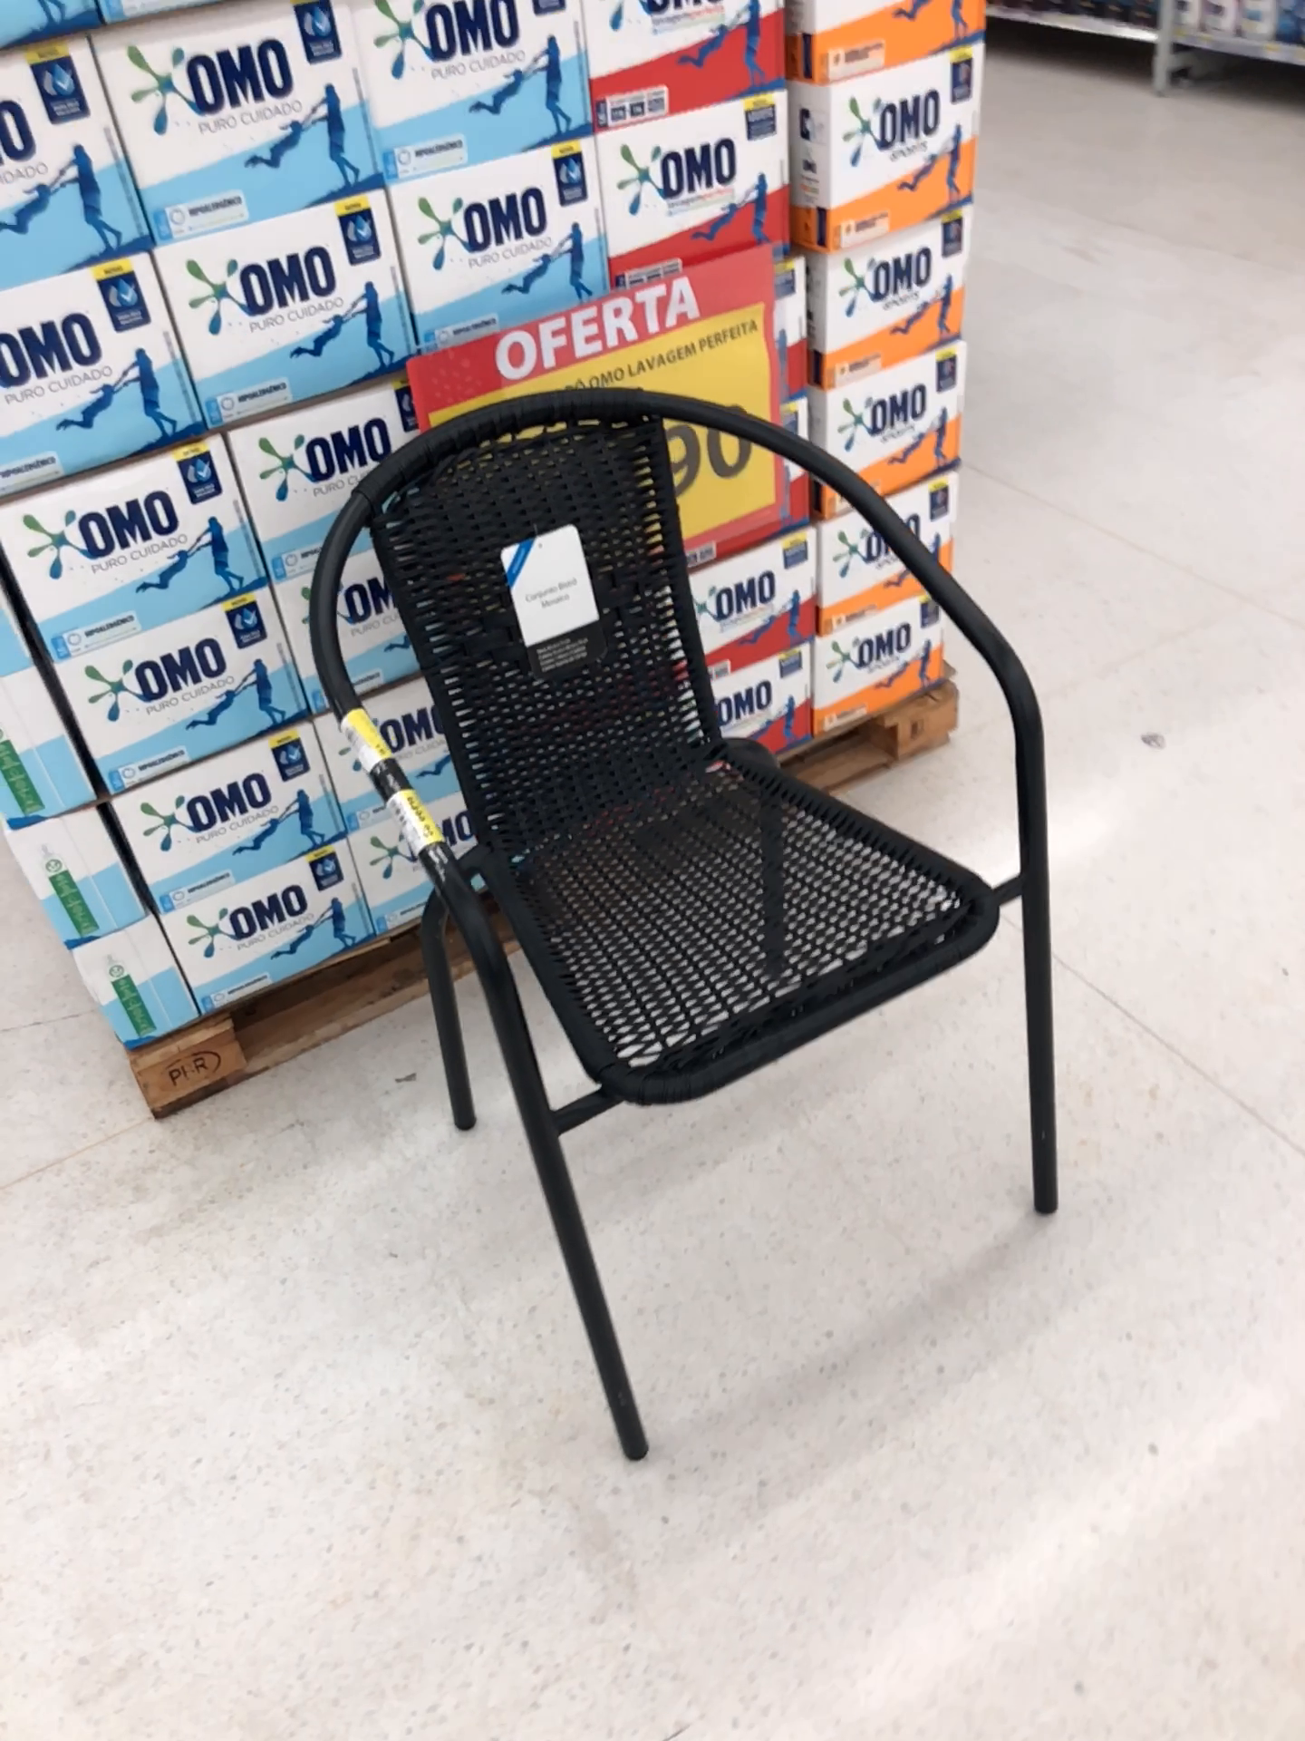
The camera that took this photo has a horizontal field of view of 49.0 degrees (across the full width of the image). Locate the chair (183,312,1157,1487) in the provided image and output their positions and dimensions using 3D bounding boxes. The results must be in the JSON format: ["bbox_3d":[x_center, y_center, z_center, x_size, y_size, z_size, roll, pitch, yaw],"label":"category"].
[{"bbox_3d":[0.019,0.012,1.235,0.501,0.725,0.503,-25,42,-20],"label":"chair"}]
